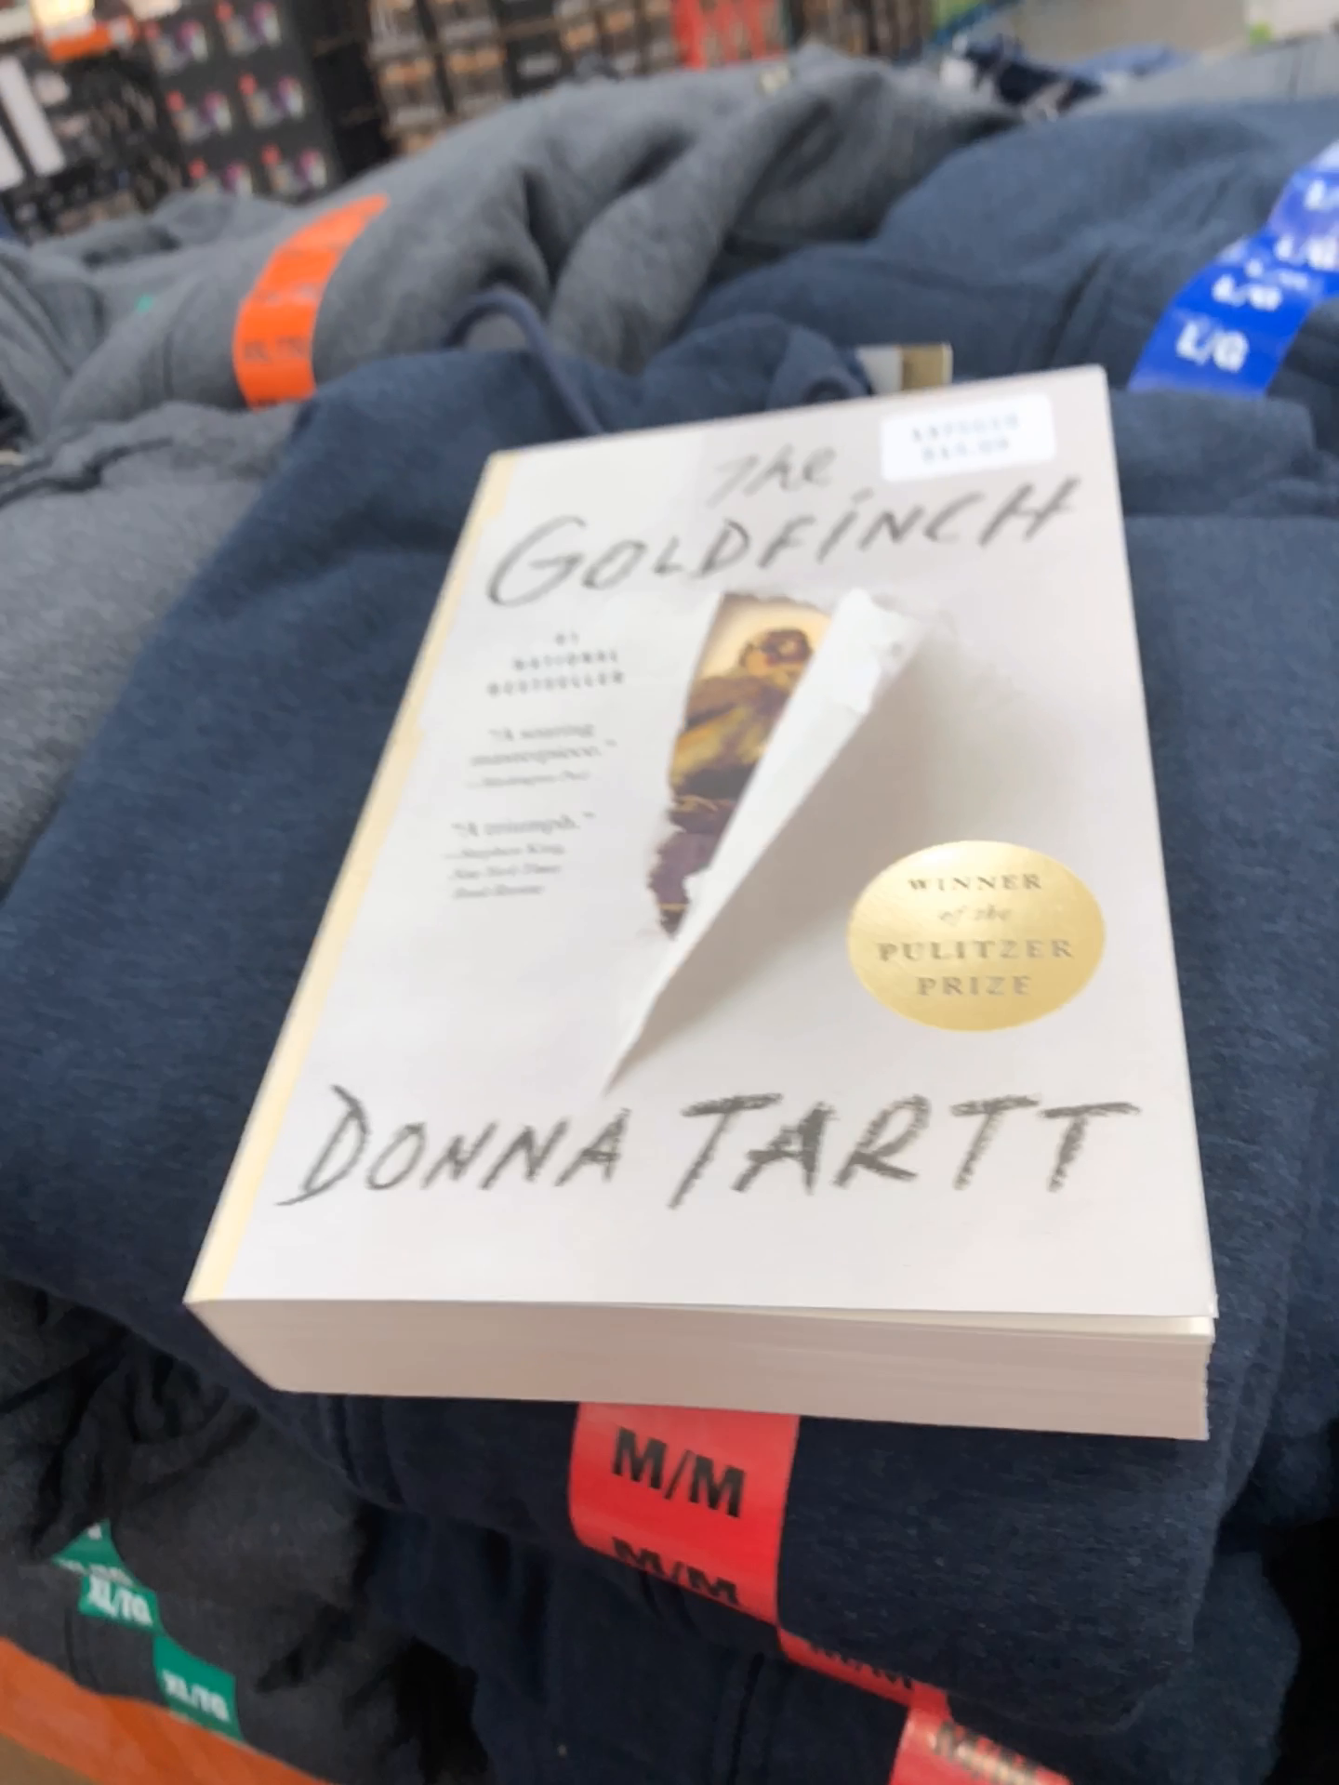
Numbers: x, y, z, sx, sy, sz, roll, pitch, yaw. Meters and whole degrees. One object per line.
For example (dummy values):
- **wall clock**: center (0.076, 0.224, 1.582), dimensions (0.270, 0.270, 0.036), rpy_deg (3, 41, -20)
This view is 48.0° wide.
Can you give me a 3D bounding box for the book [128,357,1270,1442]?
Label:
- **book**: center (0.015, -0.015, 0.289), dimensions (0.158, 0.041, 0.222), rpy_deg (-3, 48, 15)
